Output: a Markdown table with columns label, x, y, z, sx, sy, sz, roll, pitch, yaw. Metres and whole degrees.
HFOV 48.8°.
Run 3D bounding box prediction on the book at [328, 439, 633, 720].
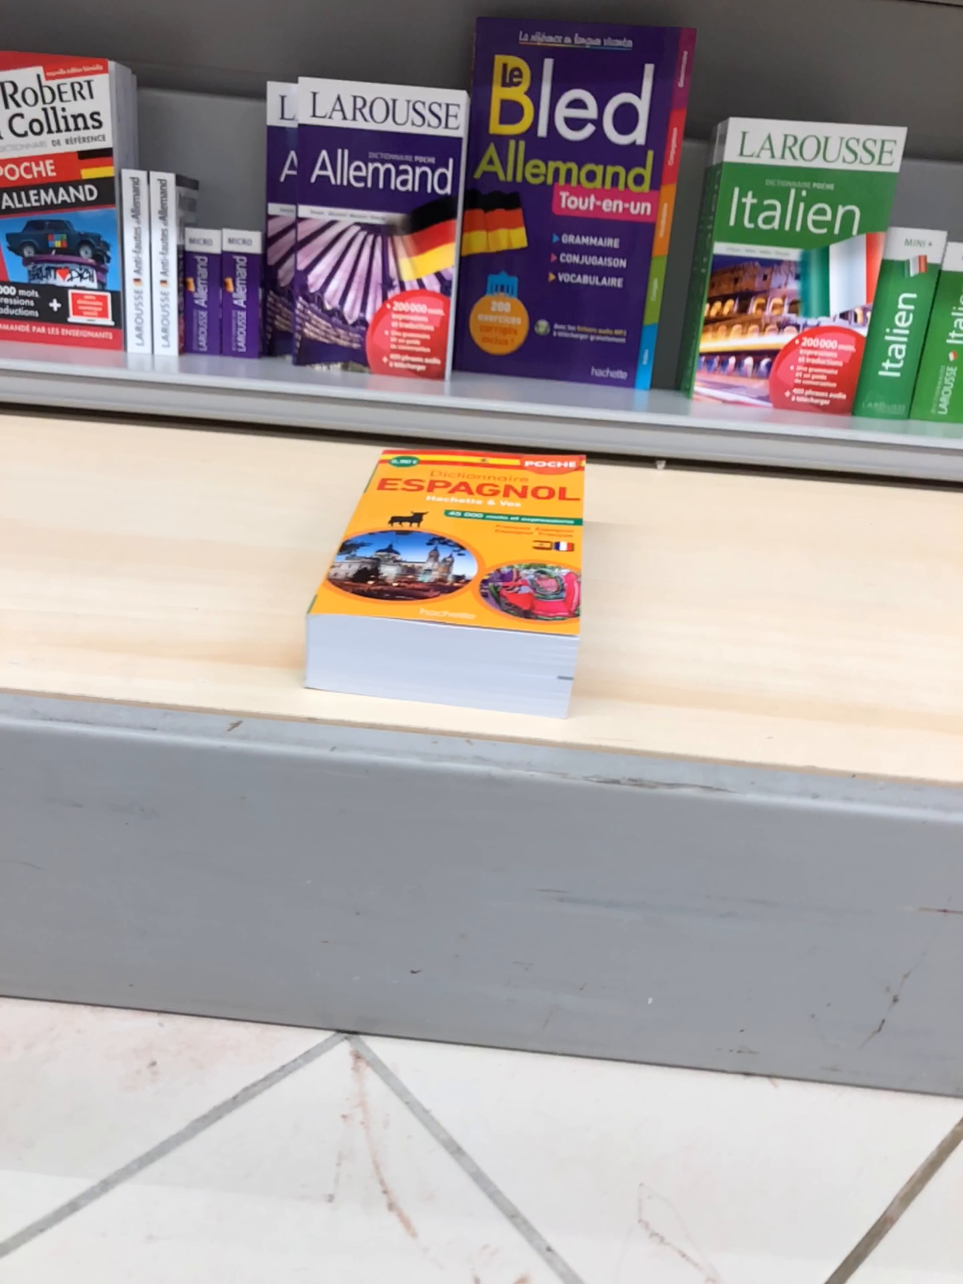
| label | x | y | z | sx | sy | sz | roll | pitch | yaw |
| --- | --- | --- | --- | --- | --- | --- | --- | --- | --- |
| book | 0.008 | -0.039 | 0.496 | 0.117 | 0.040 | 0.191 | 5 | 30 | 4 |
